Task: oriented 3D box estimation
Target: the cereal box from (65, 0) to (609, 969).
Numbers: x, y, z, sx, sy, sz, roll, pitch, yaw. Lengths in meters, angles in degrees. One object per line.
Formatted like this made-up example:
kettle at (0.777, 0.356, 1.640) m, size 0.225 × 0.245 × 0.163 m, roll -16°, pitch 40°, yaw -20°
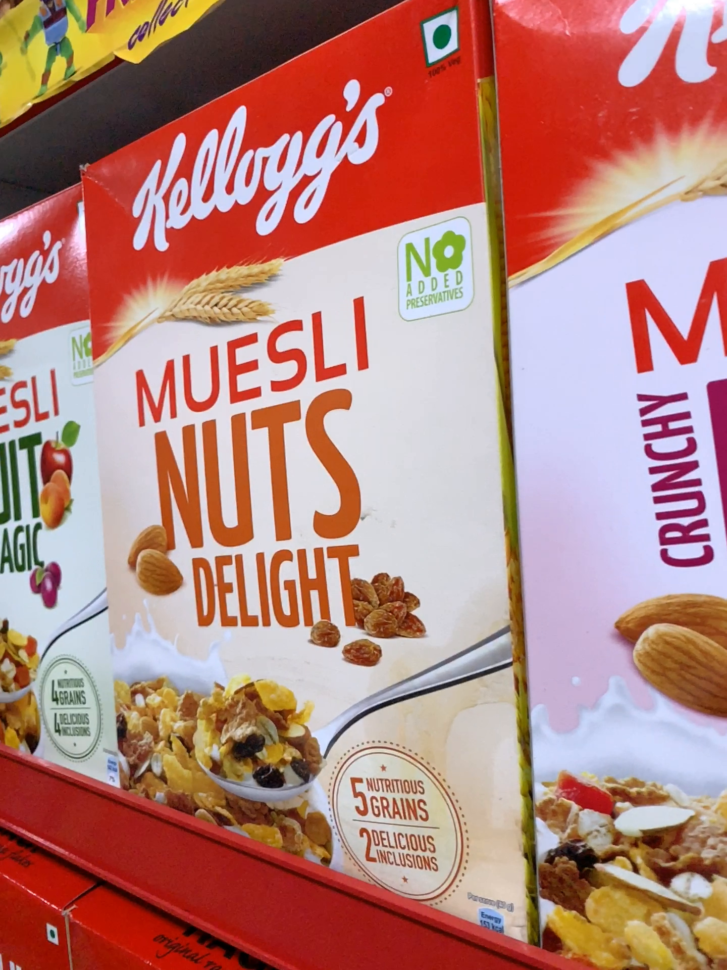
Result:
cereal box at (-0.019, -0.002, 0.255) m, size 0.170 × 0.250 × 0.060 m, roll -2°, pitch 1°, yaw 38°
